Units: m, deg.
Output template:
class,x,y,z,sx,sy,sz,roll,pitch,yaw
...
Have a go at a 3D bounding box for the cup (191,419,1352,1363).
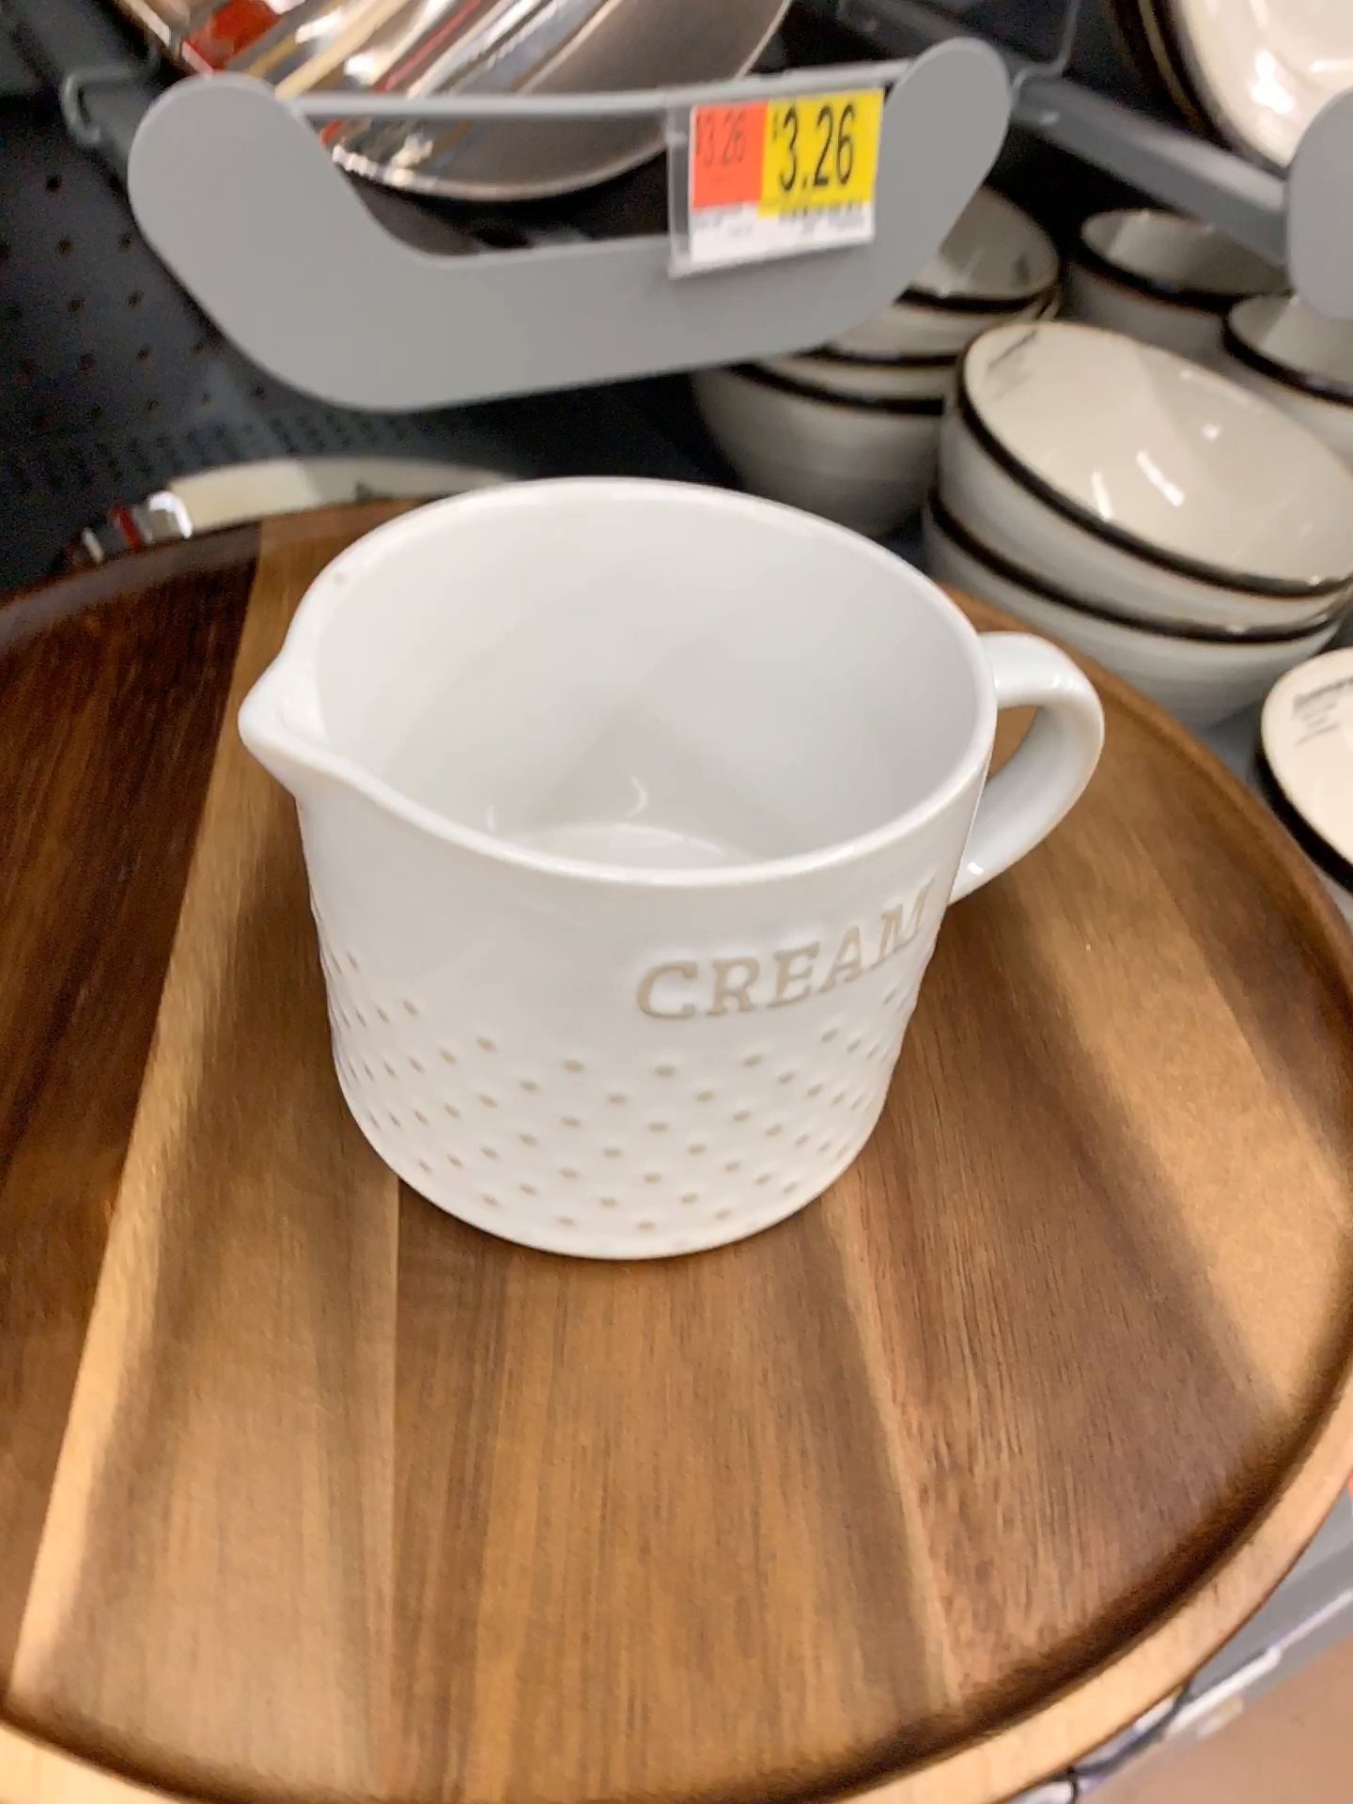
class,x,y,z,sx,sy,sz,roll,pitch,yaw
cup,0.009,-0.011,0.241,0.150,0.090,0.100,-13,47,-21
